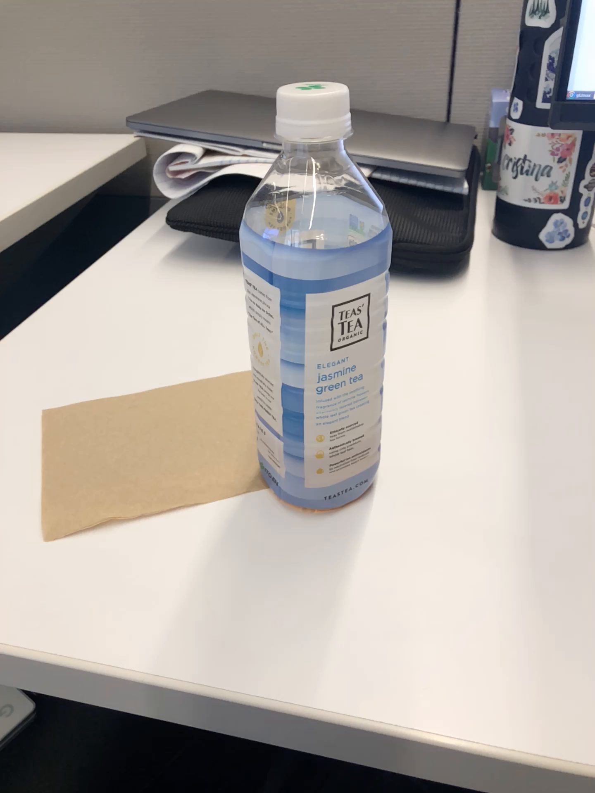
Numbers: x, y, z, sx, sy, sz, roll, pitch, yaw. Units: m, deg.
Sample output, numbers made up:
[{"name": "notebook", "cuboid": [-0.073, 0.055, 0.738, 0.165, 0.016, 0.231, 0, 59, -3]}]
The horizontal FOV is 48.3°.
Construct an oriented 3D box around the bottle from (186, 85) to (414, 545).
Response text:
[{"name": "bottle", "cuboid": [0.003, -0.036, 0.336, 0.070, 0.209, 0.070, -2, 32, 1]}]
